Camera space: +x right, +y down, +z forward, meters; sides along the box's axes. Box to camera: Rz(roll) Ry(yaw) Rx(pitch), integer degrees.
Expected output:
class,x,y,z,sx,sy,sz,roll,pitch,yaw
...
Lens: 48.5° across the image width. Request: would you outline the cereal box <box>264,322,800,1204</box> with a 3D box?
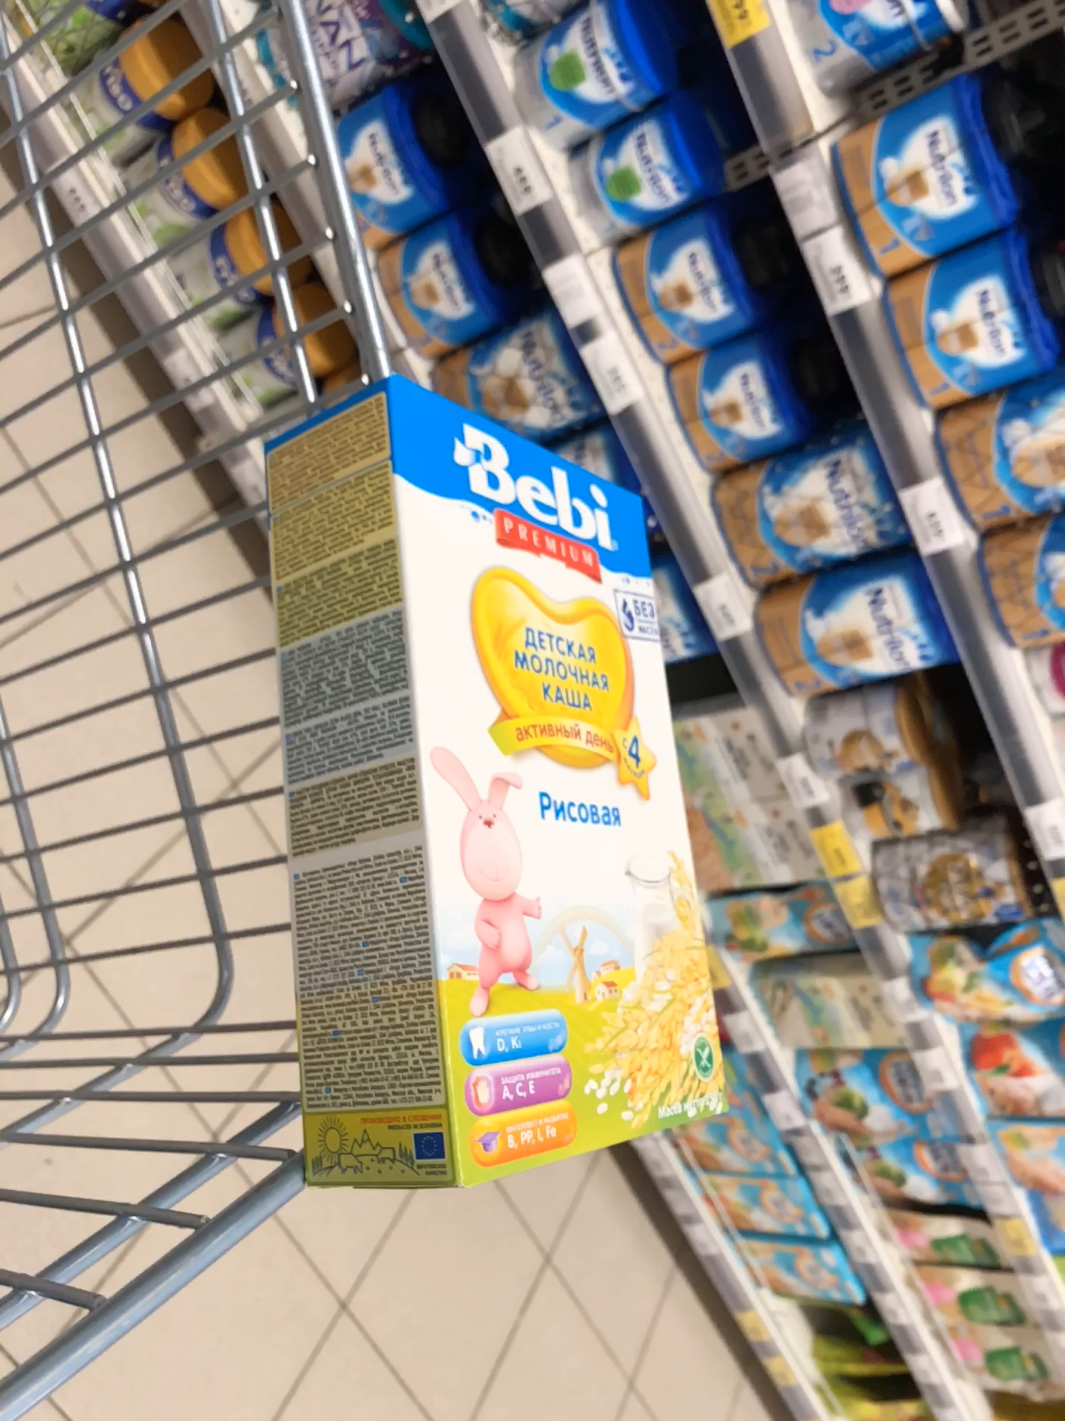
class,x,y,z,sx,sy,sz,roll,pitch,yaw
cereal box,0.003,0.018,0.346,0.151,0.050,0.210,11,67,-49
